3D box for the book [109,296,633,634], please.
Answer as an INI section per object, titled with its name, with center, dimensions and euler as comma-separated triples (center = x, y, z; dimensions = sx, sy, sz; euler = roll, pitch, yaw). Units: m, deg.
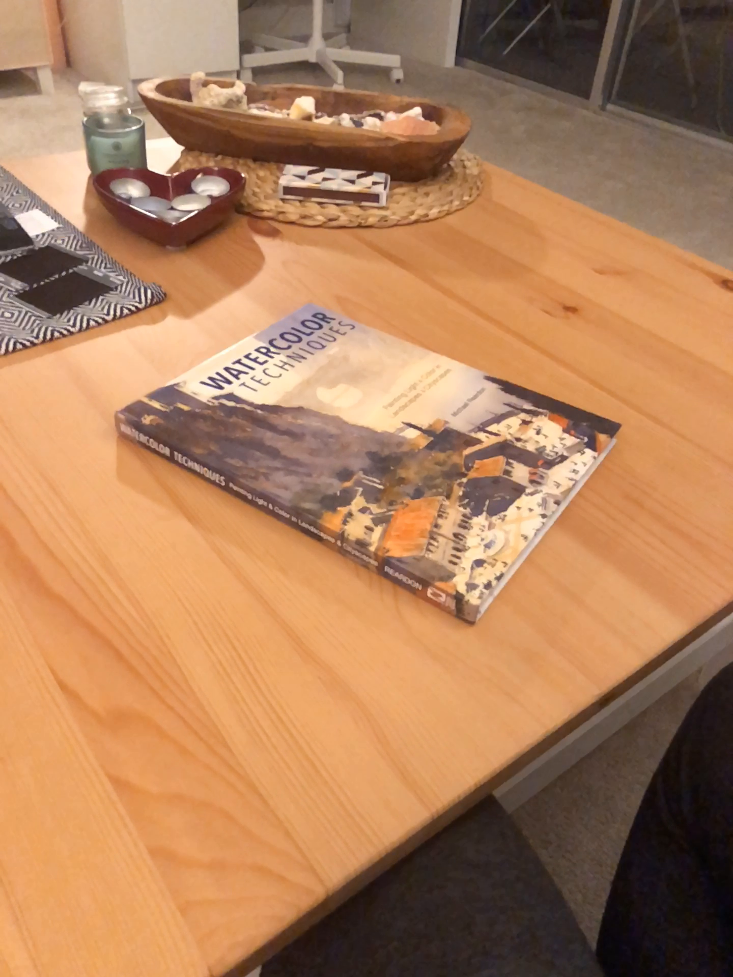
[book]
center = 0.008, -0.041, 0.540
dimensions = 0.279, 0.020, 0.214
euler = 26, 44, 23
